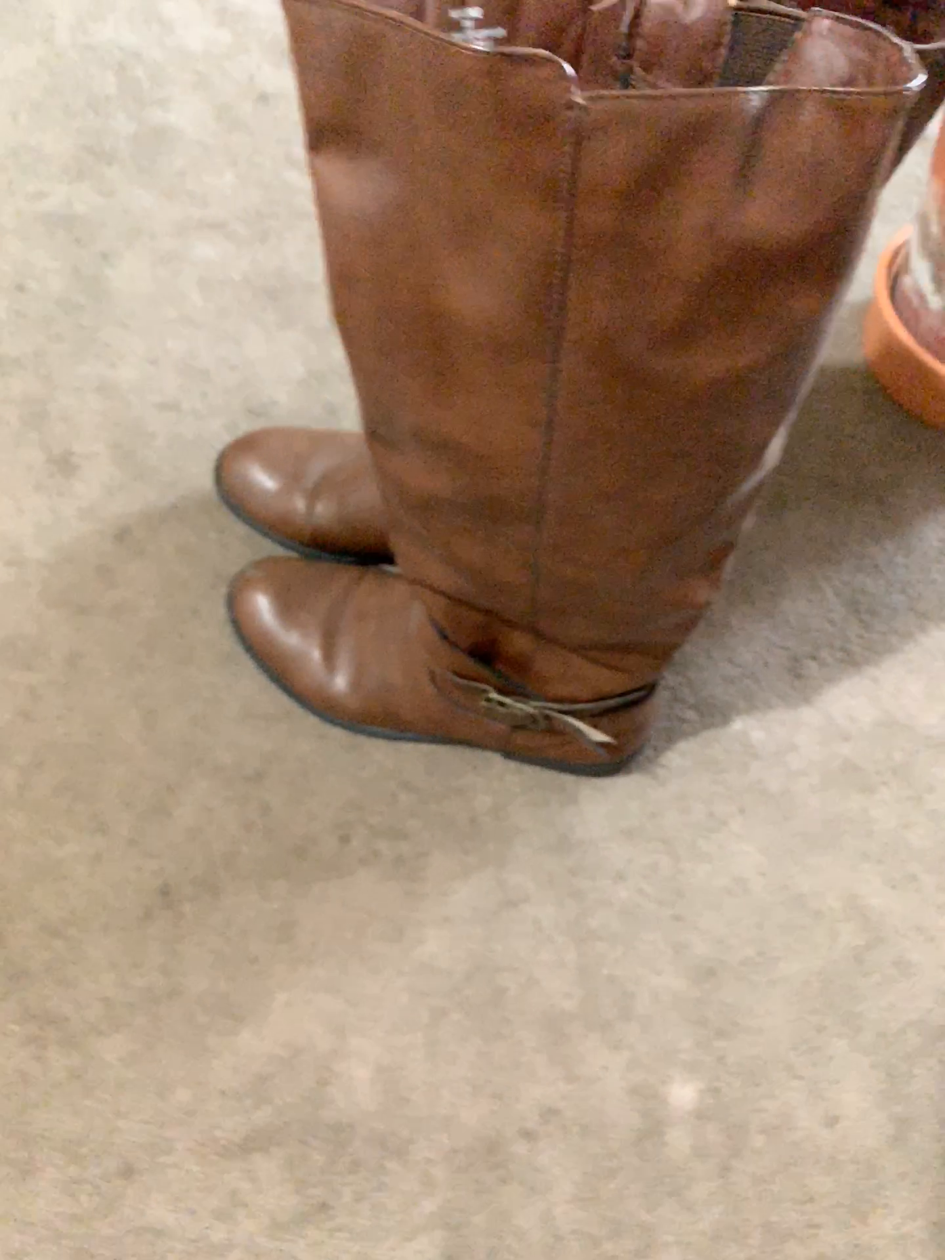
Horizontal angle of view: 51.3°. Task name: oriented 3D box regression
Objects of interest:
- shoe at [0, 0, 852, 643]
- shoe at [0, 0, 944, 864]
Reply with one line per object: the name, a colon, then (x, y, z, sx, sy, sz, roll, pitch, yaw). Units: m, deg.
shoe: (-0.033, -0.156, 0.439, 0.260, 0.368, 0.111, 15, 64, 6)
shoe: (-0.014, -0.059, 0.411, 0.270, 0.398, 0.121, 21, 64, 9)
